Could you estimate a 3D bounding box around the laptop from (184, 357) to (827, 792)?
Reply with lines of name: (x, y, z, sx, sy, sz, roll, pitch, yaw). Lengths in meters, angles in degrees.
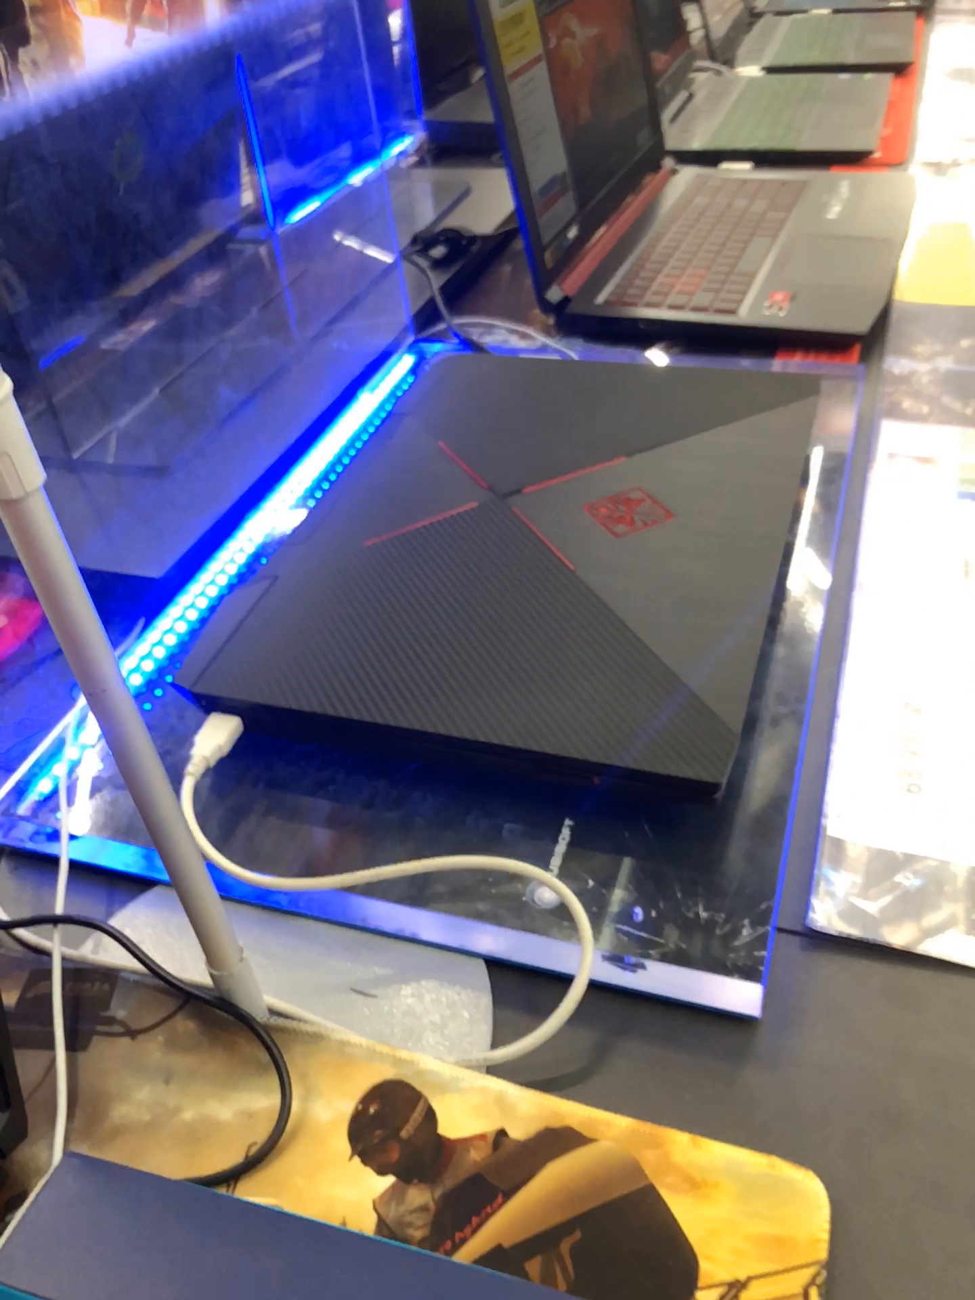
laptop: (0.036, -0.072, 0.574, 0.237, 0.003, 0.351, 9, 42, 18)
